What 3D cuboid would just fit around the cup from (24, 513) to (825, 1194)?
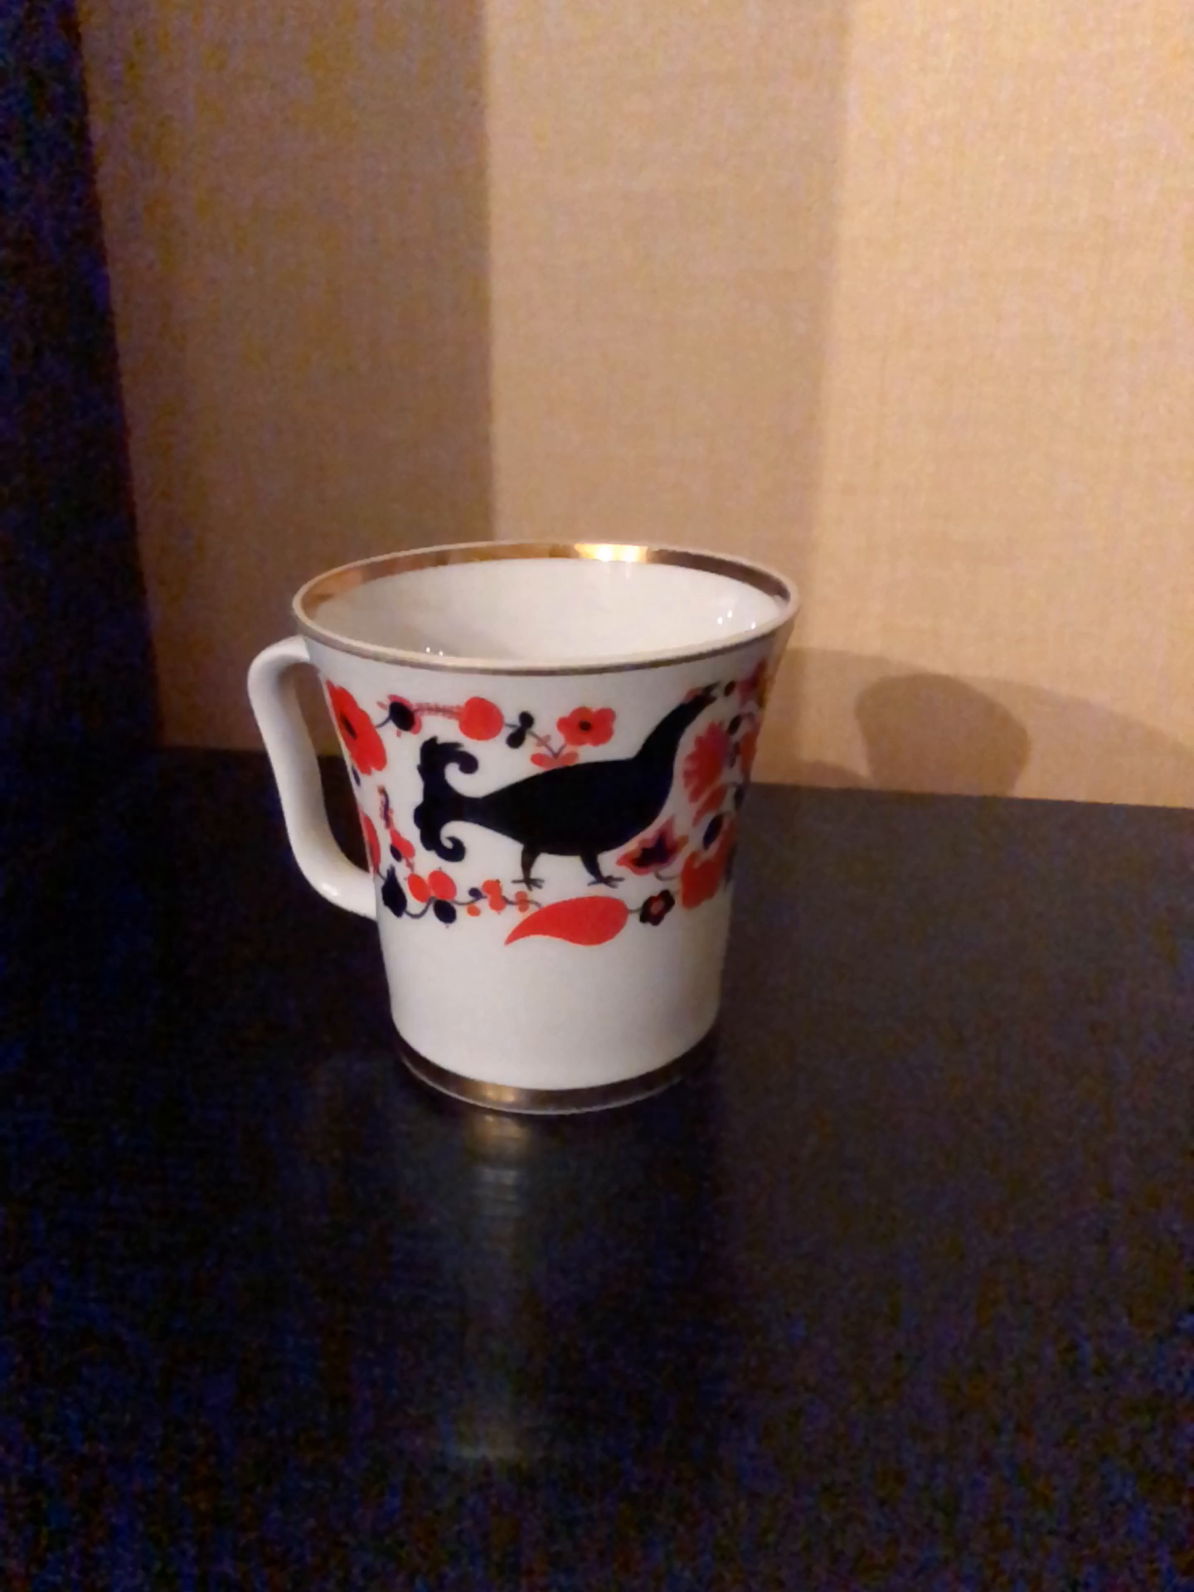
[{"bbox_3d":[-0.024,0.001,0.271,0.125,0.092,0.103,6,23,12],"label":"cup"}]
